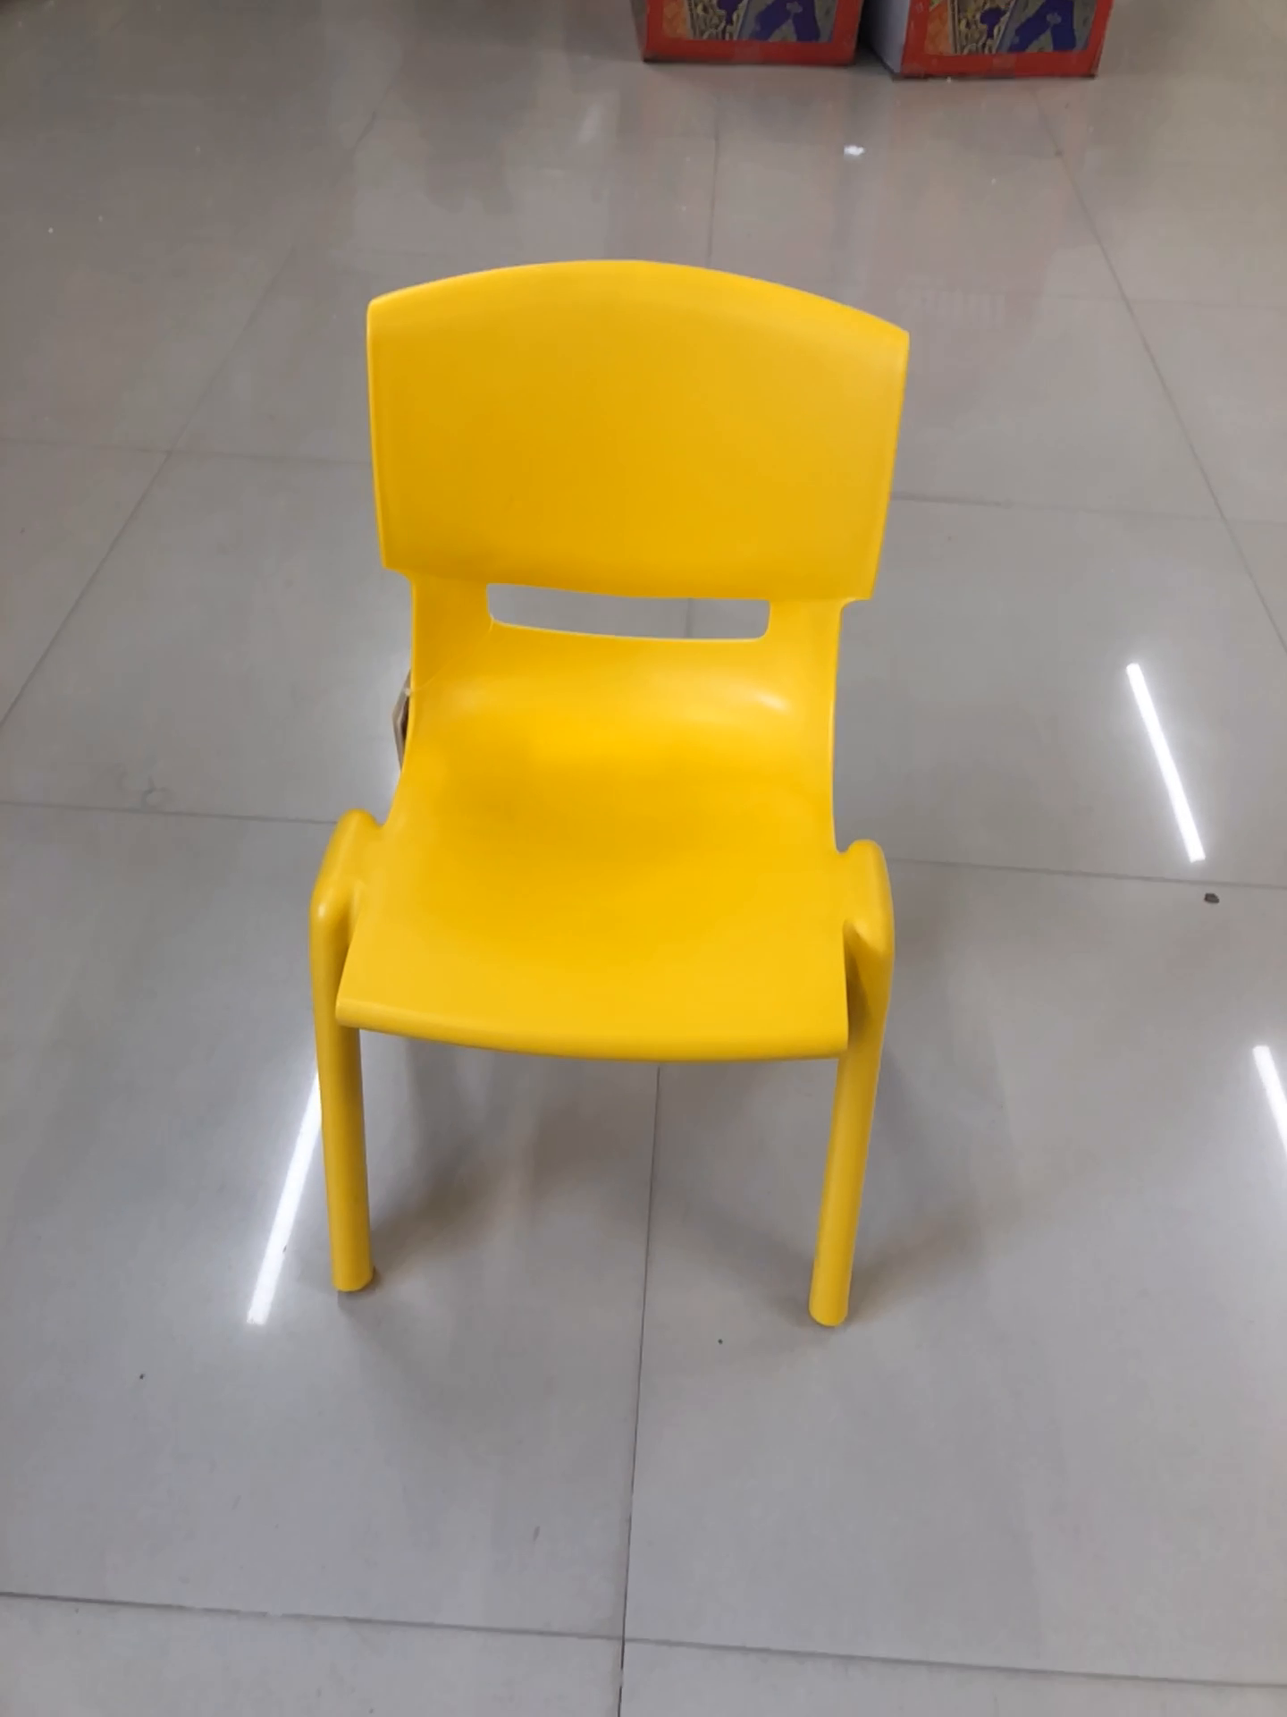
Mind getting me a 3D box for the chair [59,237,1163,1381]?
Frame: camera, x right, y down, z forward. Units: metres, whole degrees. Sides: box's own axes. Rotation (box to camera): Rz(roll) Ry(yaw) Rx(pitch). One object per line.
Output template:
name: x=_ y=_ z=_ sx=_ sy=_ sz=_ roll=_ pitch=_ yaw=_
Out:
chair: x=-0.010 y=-0.037 z=0.762 sx=0.360 sy=0.397 sz=0.453 roll=3 pitch=44 yaw=0
